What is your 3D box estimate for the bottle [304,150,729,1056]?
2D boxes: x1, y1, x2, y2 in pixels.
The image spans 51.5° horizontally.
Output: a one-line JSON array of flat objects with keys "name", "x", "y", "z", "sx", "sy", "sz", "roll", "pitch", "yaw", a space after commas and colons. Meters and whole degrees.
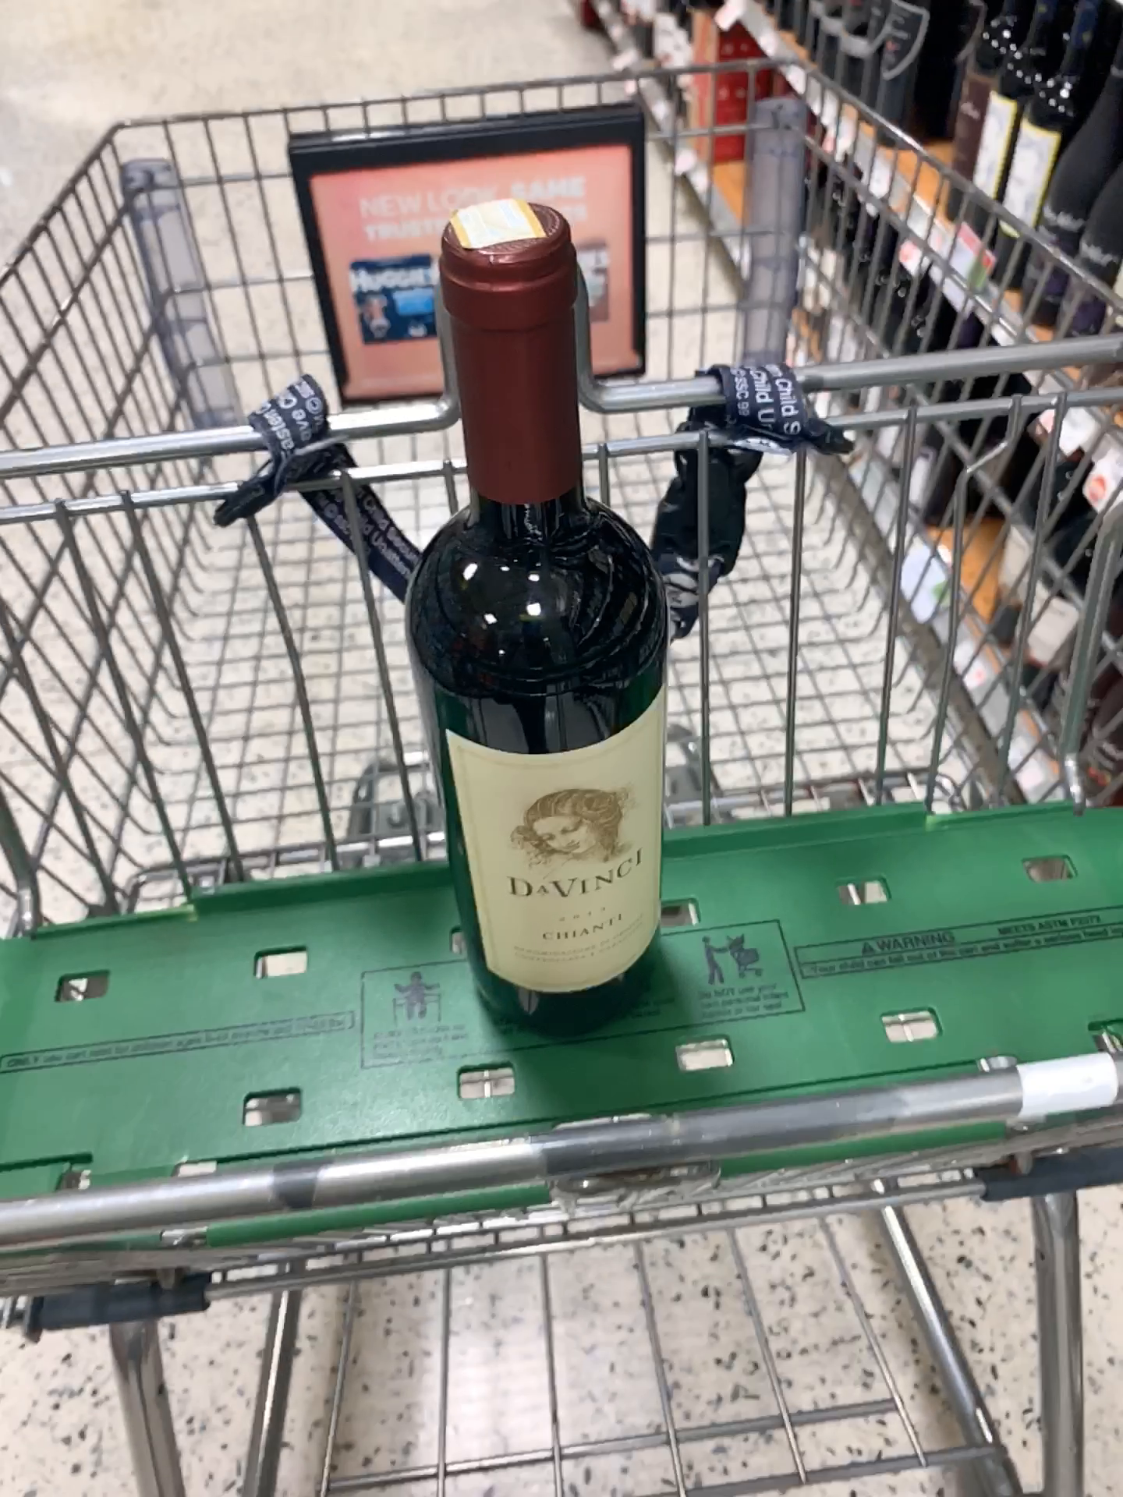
[{"name": "bottle", "x": -0.007, "y": -0.017, "z": 0.344, "sx": 0.080, "sy": 0.267, "sz": 0.081, "roll": -2, "pitch": 47, "yaw": 2}]
